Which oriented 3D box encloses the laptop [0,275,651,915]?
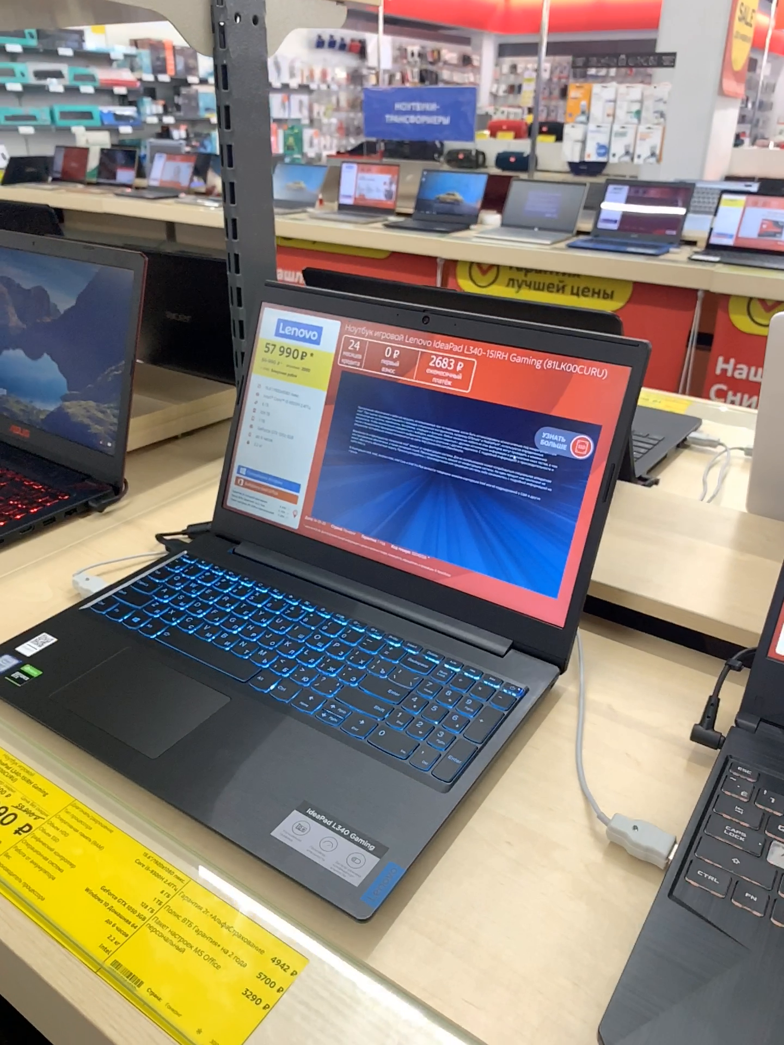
[{"bbox_3d":[-0.064,-0.014,0.579,0.358,0.223,0.348,17,31,29],"label":"laptop"}]
